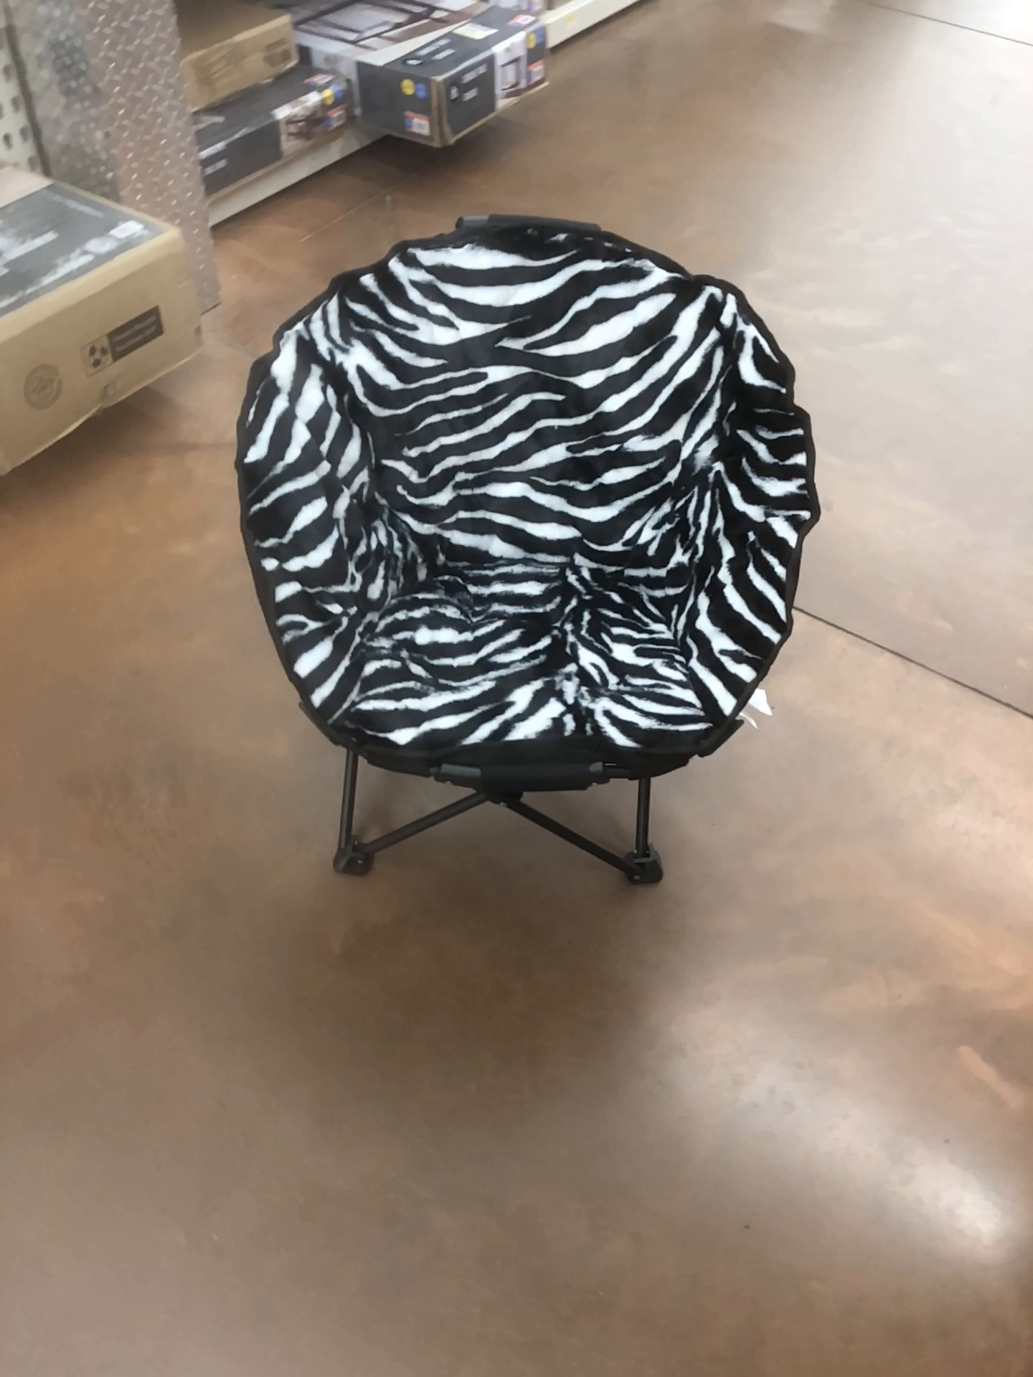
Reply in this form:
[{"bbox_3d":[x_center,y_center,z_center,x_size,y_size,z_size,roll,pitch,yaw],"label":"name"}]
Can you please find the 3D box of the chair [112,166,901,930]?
[{"bbox_3d":[-0.016,-0.153,1.301,0.610,0.598,0.602,2,47,-1],"label":"chair"}]
